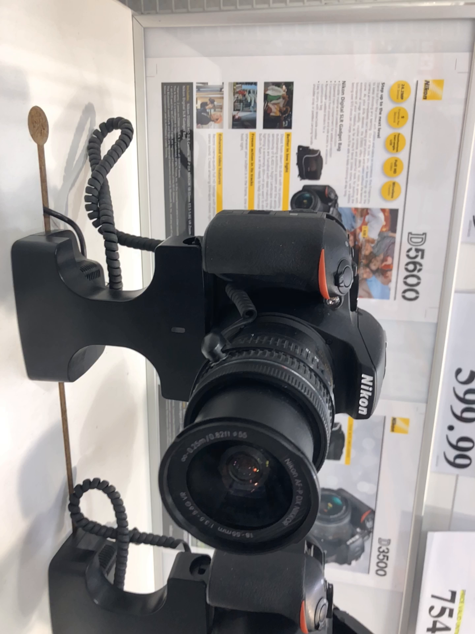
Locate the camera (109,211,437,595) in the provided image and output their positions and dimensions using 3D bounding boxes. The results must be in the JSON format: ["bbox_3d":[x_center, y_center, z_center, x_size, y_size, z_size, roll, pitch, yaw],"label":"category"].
[{"bbox_3d":[0.025,0.023,0.272,0.160,0.110,0.120,-64,155,-65],"label":"camera"}]
